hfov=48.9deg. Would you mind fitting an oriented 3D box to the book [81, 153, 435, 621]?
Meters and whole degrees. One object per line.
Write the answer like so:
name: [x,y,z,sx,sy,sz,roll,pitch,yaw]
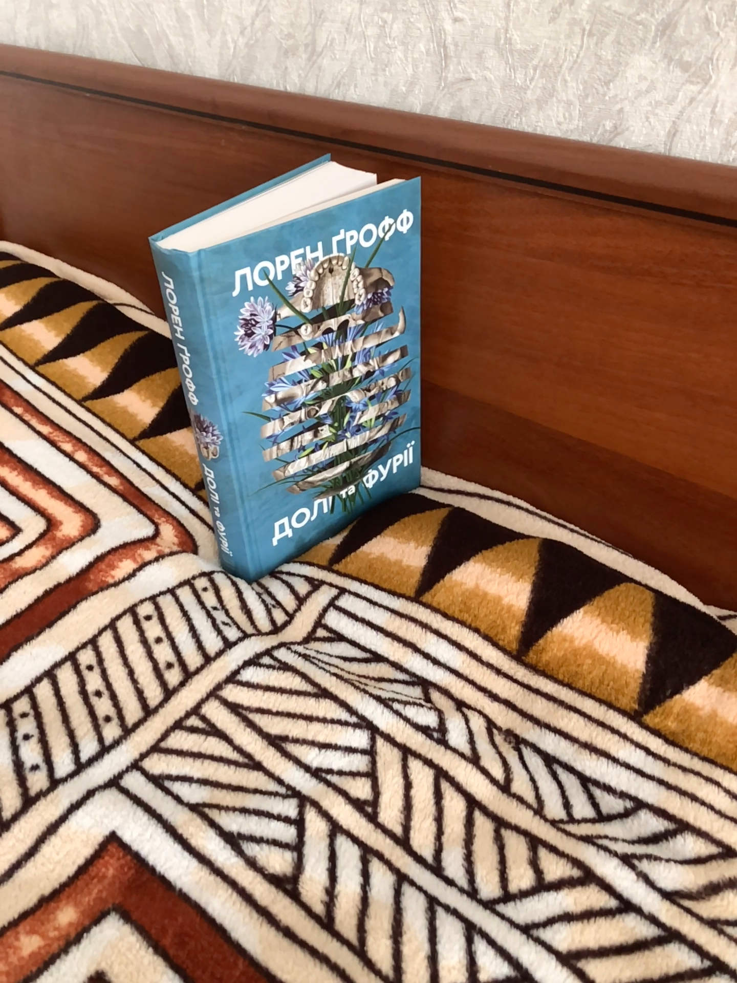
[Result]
book: [-0.047,-0.060,0.455,0.078,0.199,0.161,29,48,31]
